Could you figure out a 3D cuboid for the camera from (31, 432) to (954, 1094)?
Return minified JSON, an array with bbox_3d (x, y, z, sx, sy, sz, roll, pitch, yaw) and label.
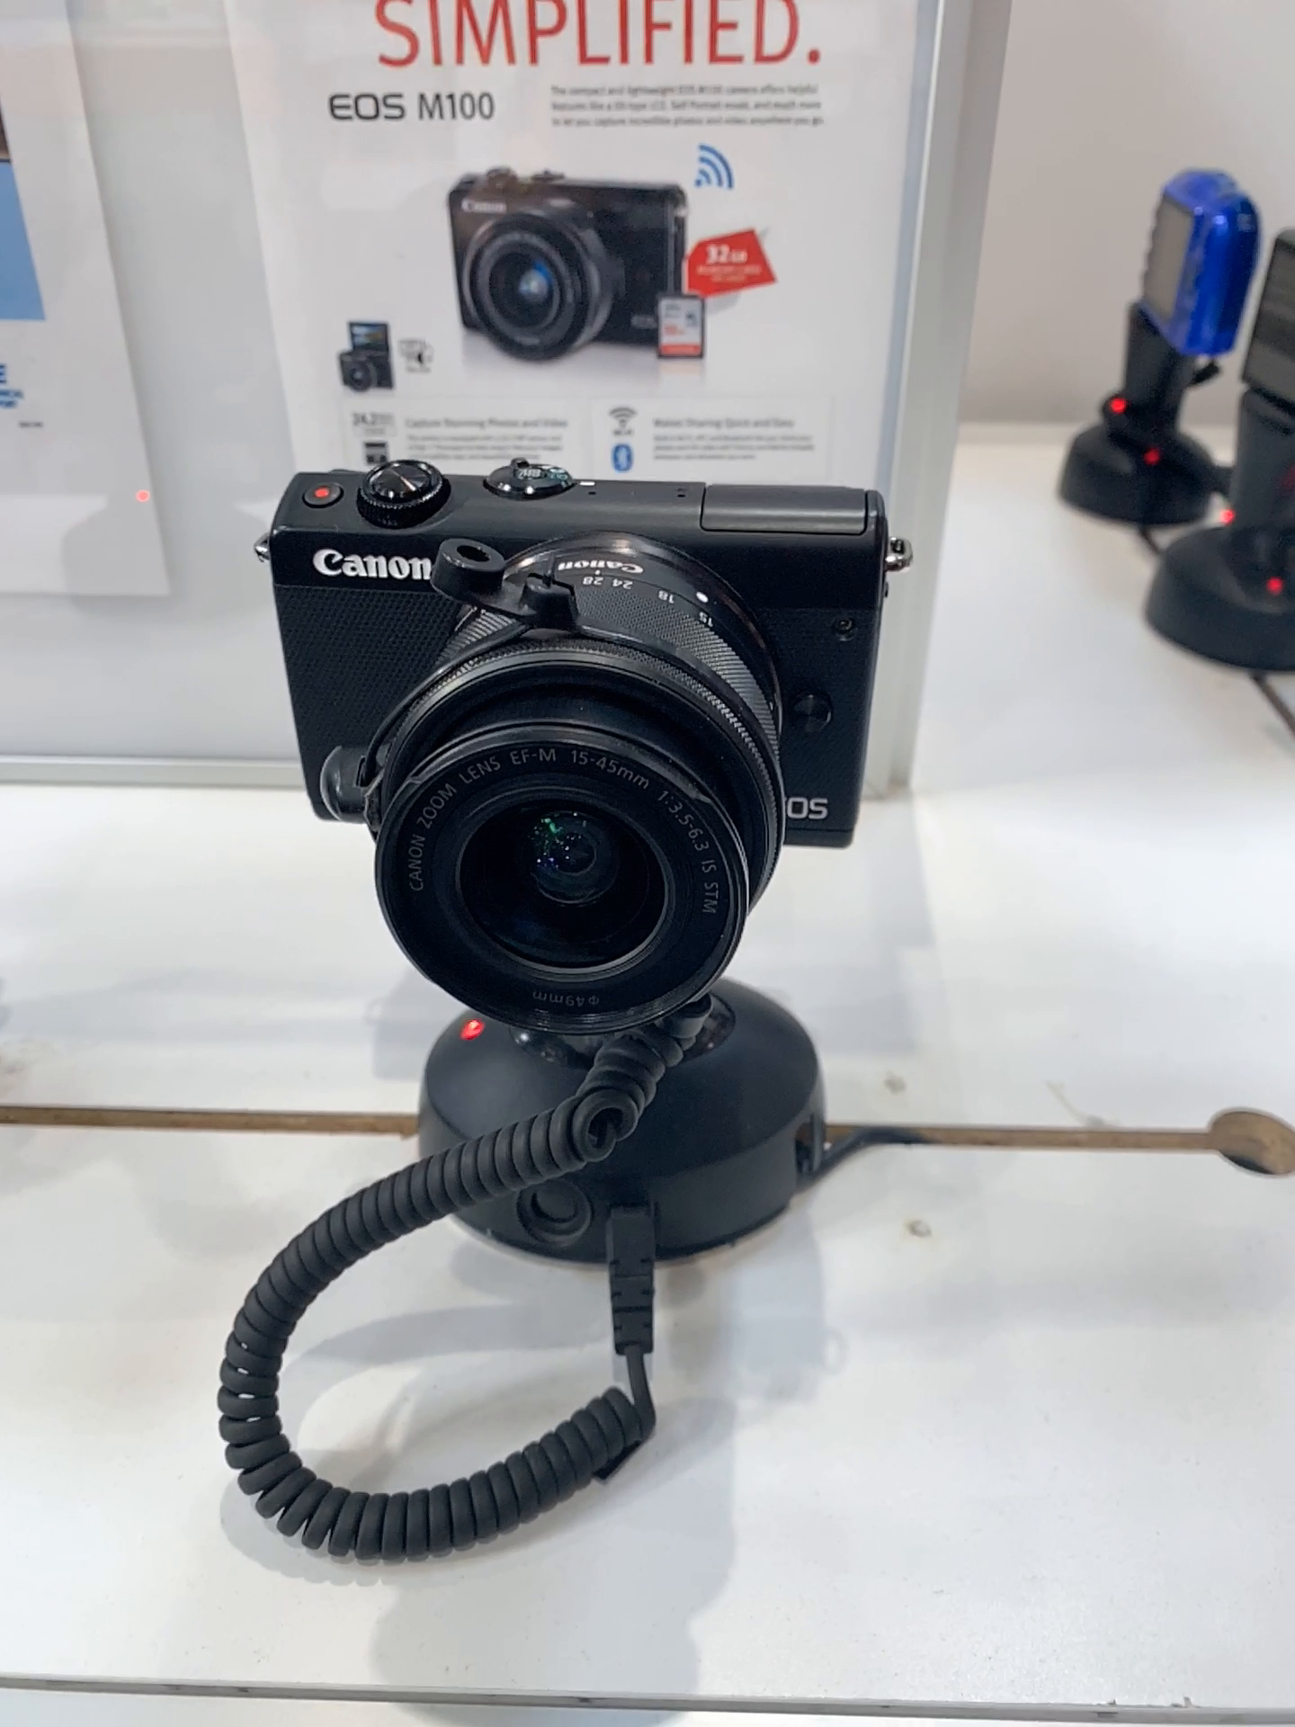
[{"bbox_3d":[-0.015,-0.023,0.214,0.110,0.066,0.093,3,29,5],"label":"camera"}]
